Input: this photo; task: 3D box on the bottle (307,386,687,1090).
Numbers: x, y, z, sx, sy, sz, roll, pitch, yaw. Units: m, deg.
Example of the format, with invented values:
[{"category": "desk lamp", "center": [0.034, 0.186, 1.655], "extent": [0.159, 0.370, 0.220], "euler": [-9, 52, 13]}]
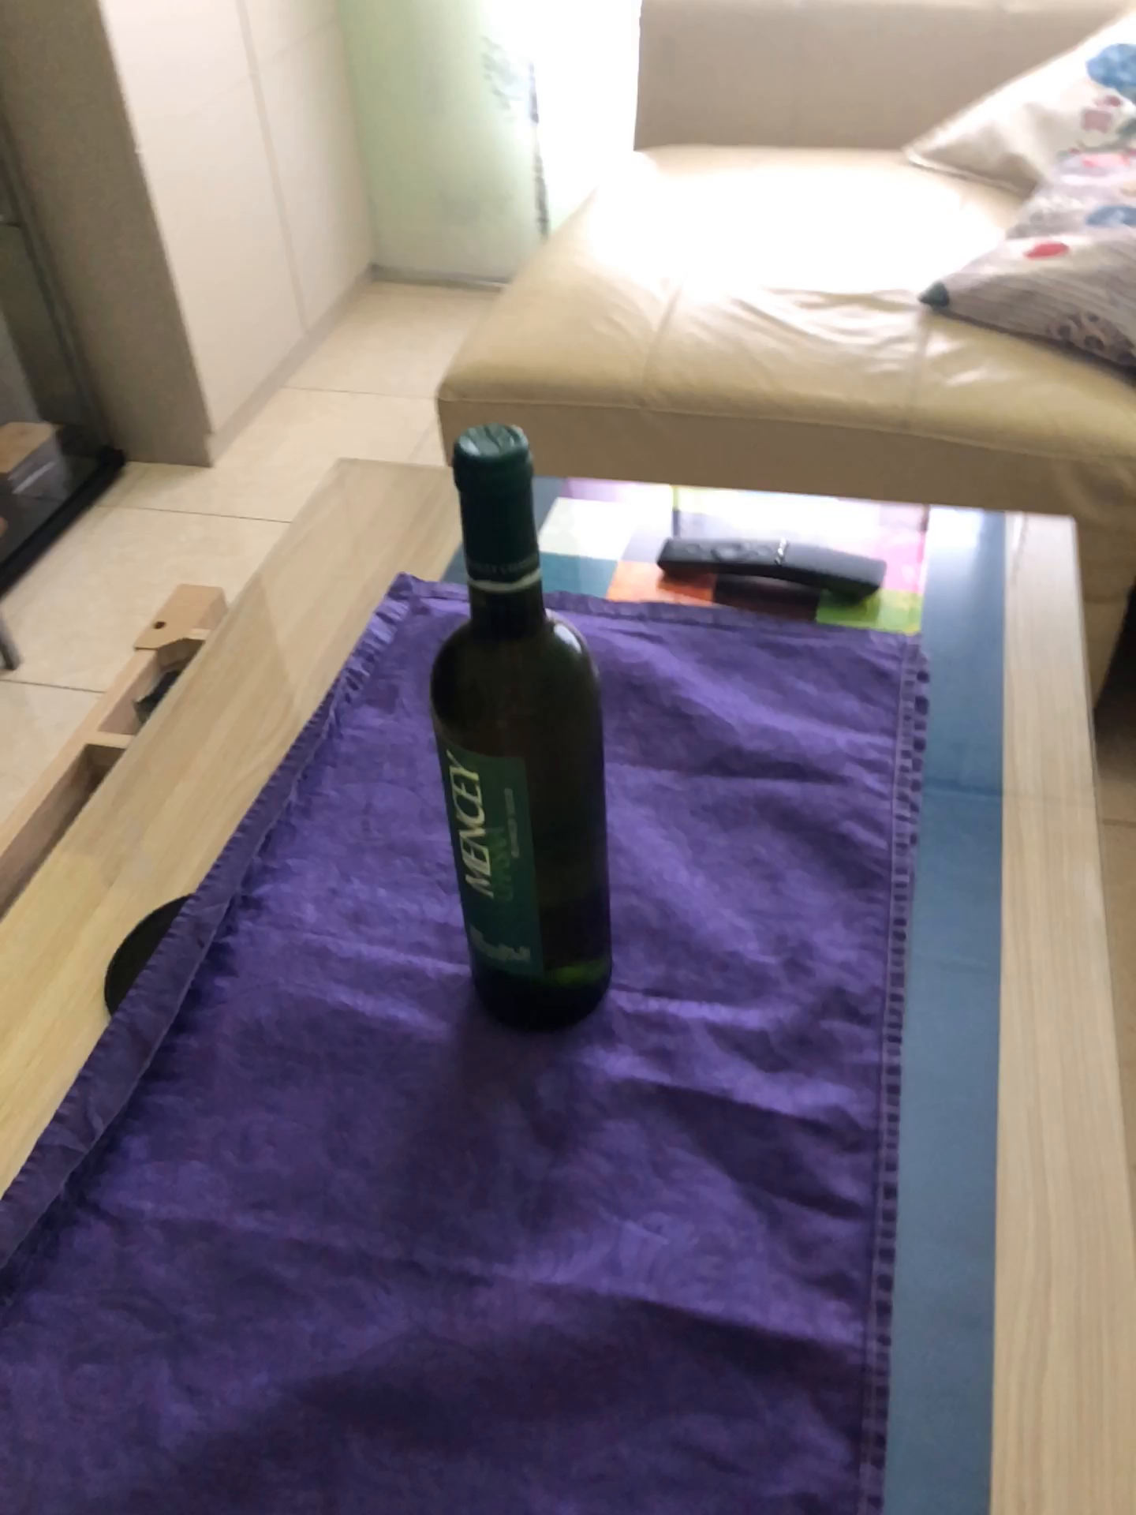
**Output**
[{"category": "bottle", "center": [-0.016, 0.004, 0.503], "extent": [0.090, 0.269, 0.090], "euler": [-2, 42, 2]}]
